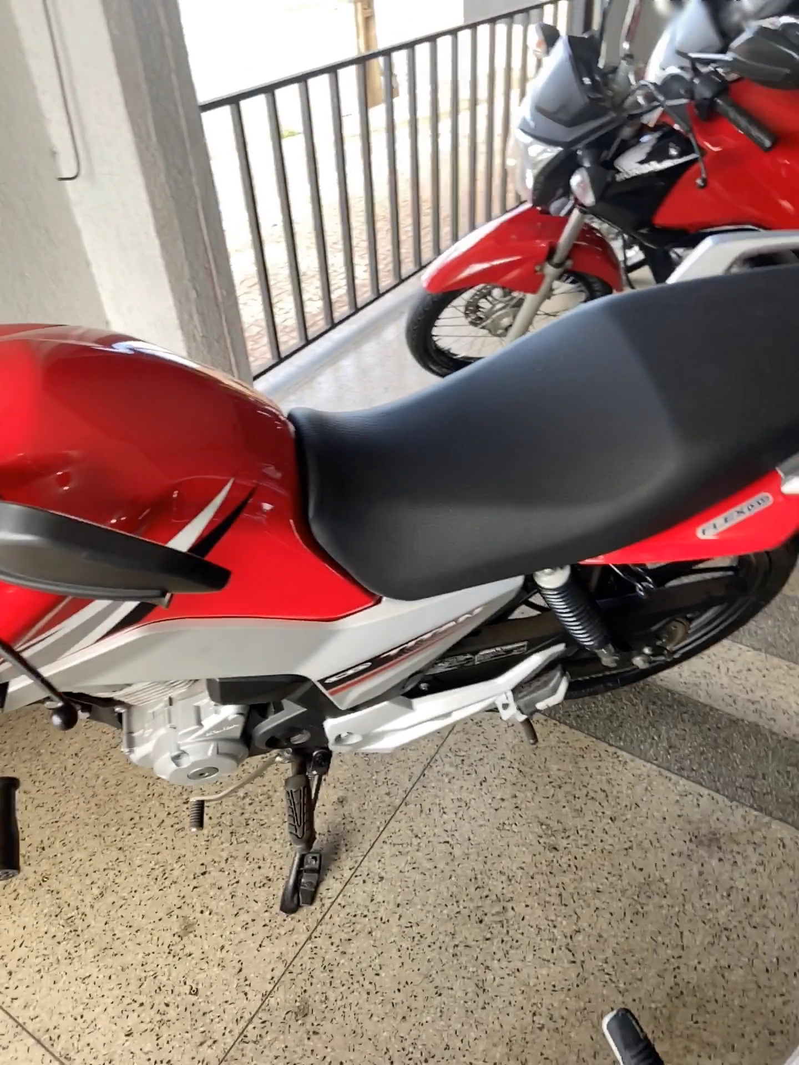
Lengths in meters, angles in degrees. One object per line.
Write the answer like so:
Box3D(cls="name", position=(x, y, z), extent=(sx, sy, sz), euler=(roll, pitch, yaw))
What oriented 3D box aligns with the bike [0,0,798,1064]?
Box3D(cls="bike", position=(-0.205, 0.219, 1.038), extent=(1.992, 1.421, 0.872), euler=(-17, 39, -13))
